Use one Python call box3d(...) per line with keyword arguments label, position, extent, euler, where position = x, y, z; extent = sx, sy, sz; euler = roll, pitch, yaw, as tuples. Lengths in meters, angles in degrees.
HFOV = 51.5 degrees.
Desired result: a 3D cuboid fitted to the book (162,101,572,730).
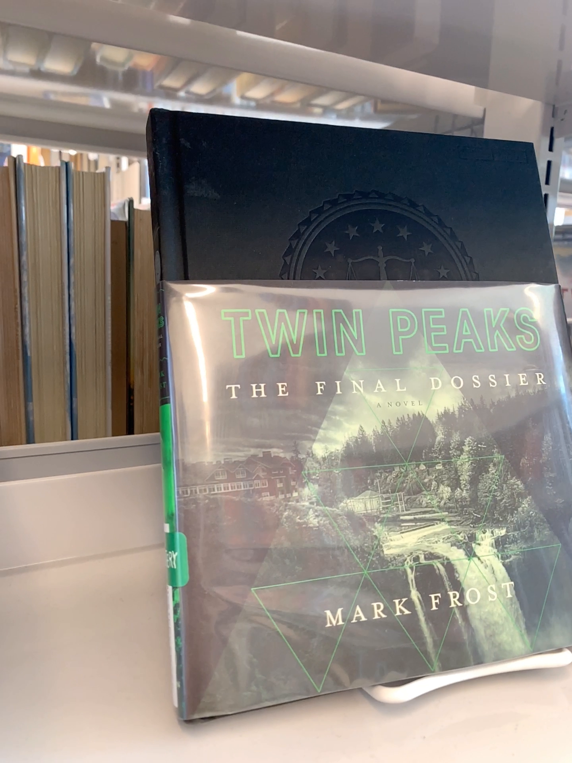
box3d(label="book", position=(0.050, 0.002, 0.251), extent=(0.190, 0.228, 0.020), euler=(-2, -8, -17))
